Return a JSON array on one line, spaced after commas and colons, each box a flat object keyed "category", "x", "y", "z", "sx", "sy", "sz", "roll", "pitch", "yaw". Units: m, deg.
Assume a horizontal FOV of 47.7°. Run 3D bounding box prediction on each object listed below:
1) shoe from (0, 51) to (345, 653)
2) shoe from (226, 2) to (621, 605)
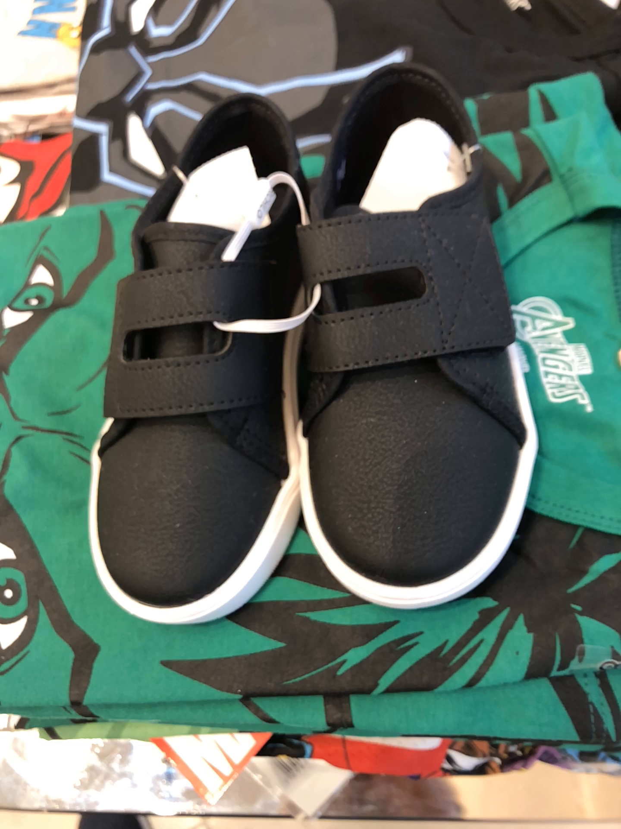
[{"category": "shoe", "x": -0.039, "y": -0.018, "z": 0.232, "sx": 0.080, "sy": 0.090, "sz": 0.170, "roll": 5, "pitch": 68, "yaw": 7}, {"category": "shoe", "x": 0.031, "y": -0.031, "z": 0.230, "sx": 0.090, "sy": 0.090, "sz": 0.170, "roll": -1, "pitch": 68, "yaw": 5}]
